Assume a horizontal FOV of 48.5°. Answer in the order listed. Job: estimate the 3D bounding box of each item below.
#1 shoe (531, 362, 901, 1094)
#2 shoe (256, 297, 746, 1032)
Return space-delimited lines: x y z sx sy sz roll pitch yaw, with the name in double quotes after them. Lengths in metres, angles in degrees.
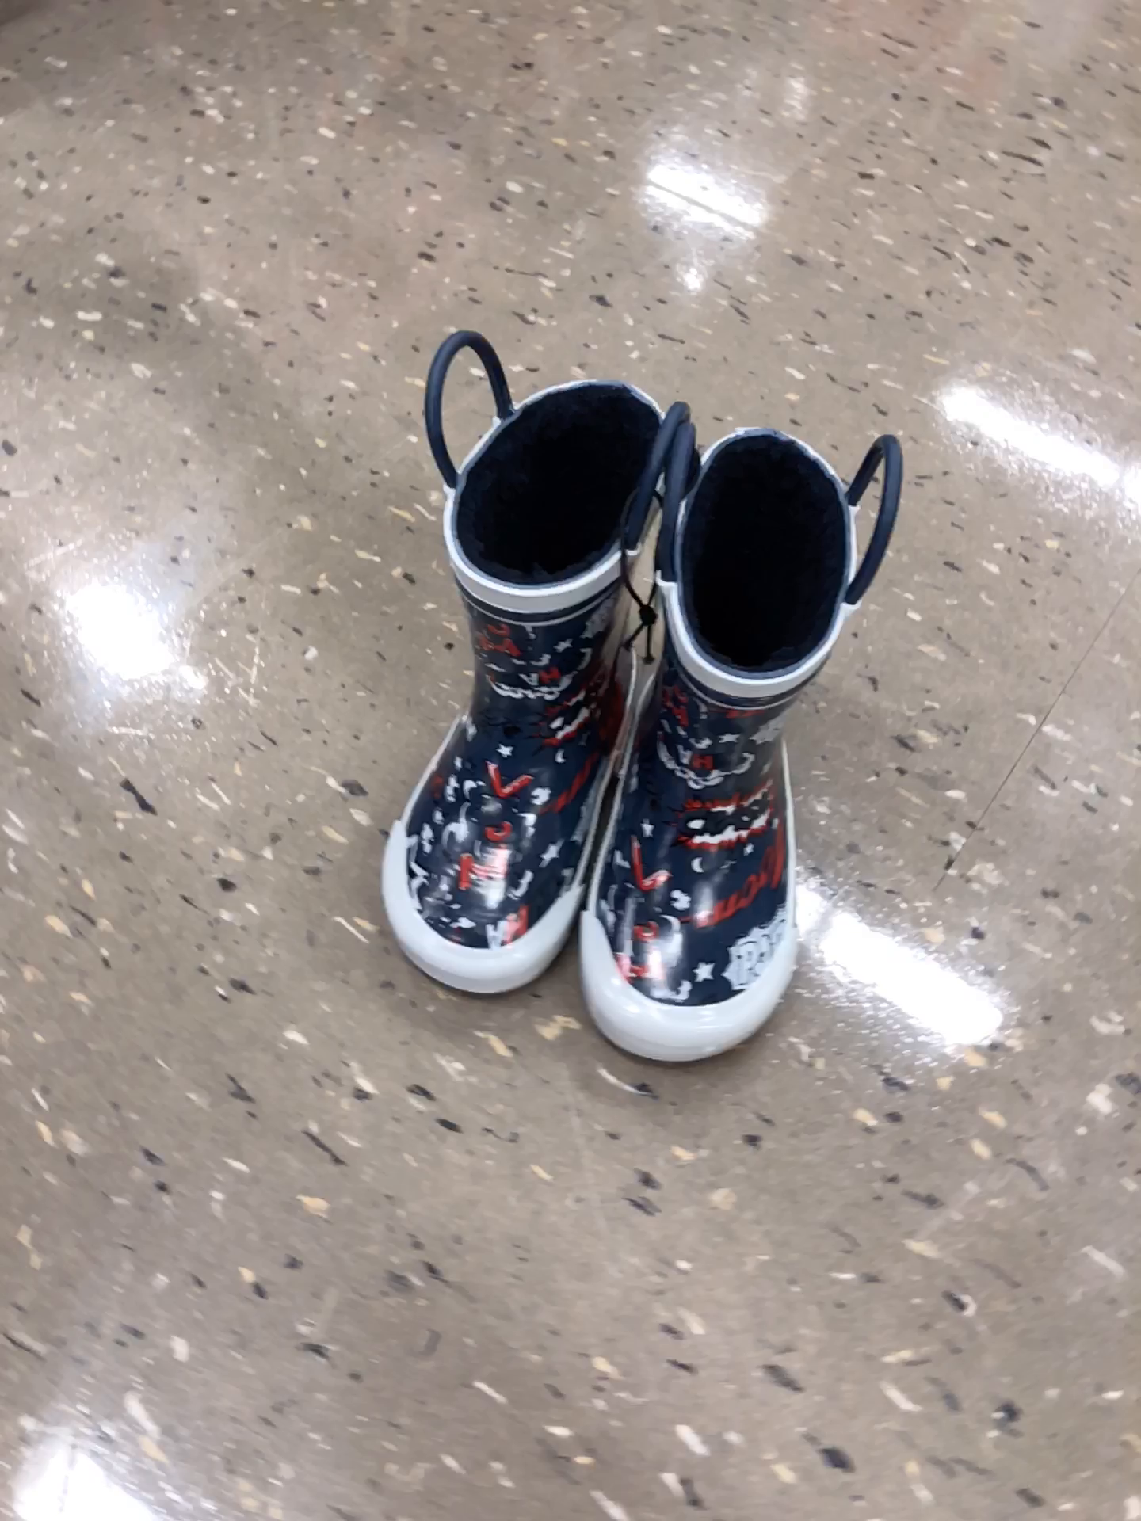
0.040 -0.003 0.388 0.080 0.160 0.150 8 56 3 "shoe"
-0.015 -0.026 0.413 0.080 0.160 0.160 18 58 9 "shoe"
